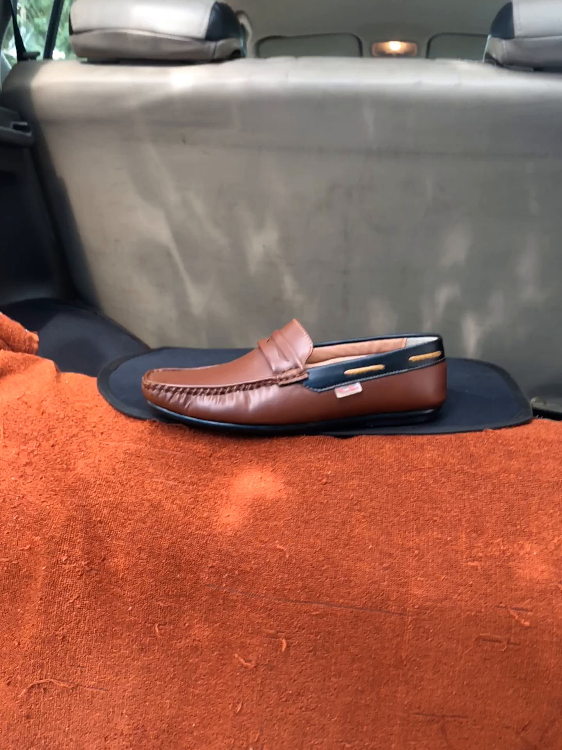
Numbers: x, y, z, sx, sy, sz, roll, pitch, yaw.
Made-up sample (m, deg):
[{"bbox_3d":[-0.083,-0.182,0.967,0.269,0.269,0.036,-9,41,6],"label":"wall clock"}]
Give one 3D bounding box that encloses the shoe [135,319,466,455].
[{"bbox_3d":[0.013,0.003,0.572,0.280,0.070,0.110,-5,17,-11],"label":"shoe"}]
